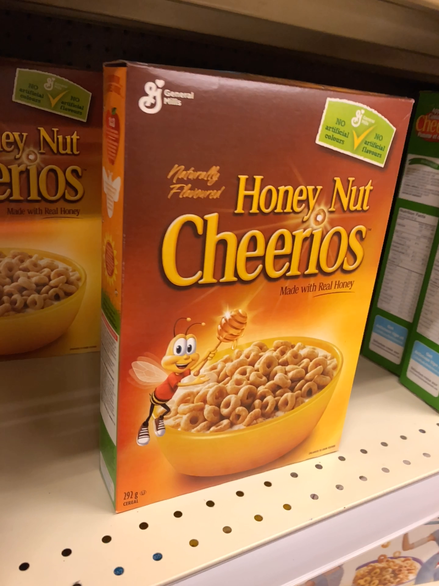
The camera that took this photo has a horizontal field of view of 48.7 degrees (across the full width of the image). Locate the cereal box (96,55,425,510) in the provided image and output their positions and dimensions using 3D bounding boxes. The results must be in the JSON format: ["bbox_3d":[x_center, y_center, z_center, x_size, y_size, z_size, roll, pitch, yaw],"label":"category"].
[{"bbox_3d":[0.019,-0.002,0.336,0.190,0.269,0.060,-5,23,-27],"label":"cereal box"}]
